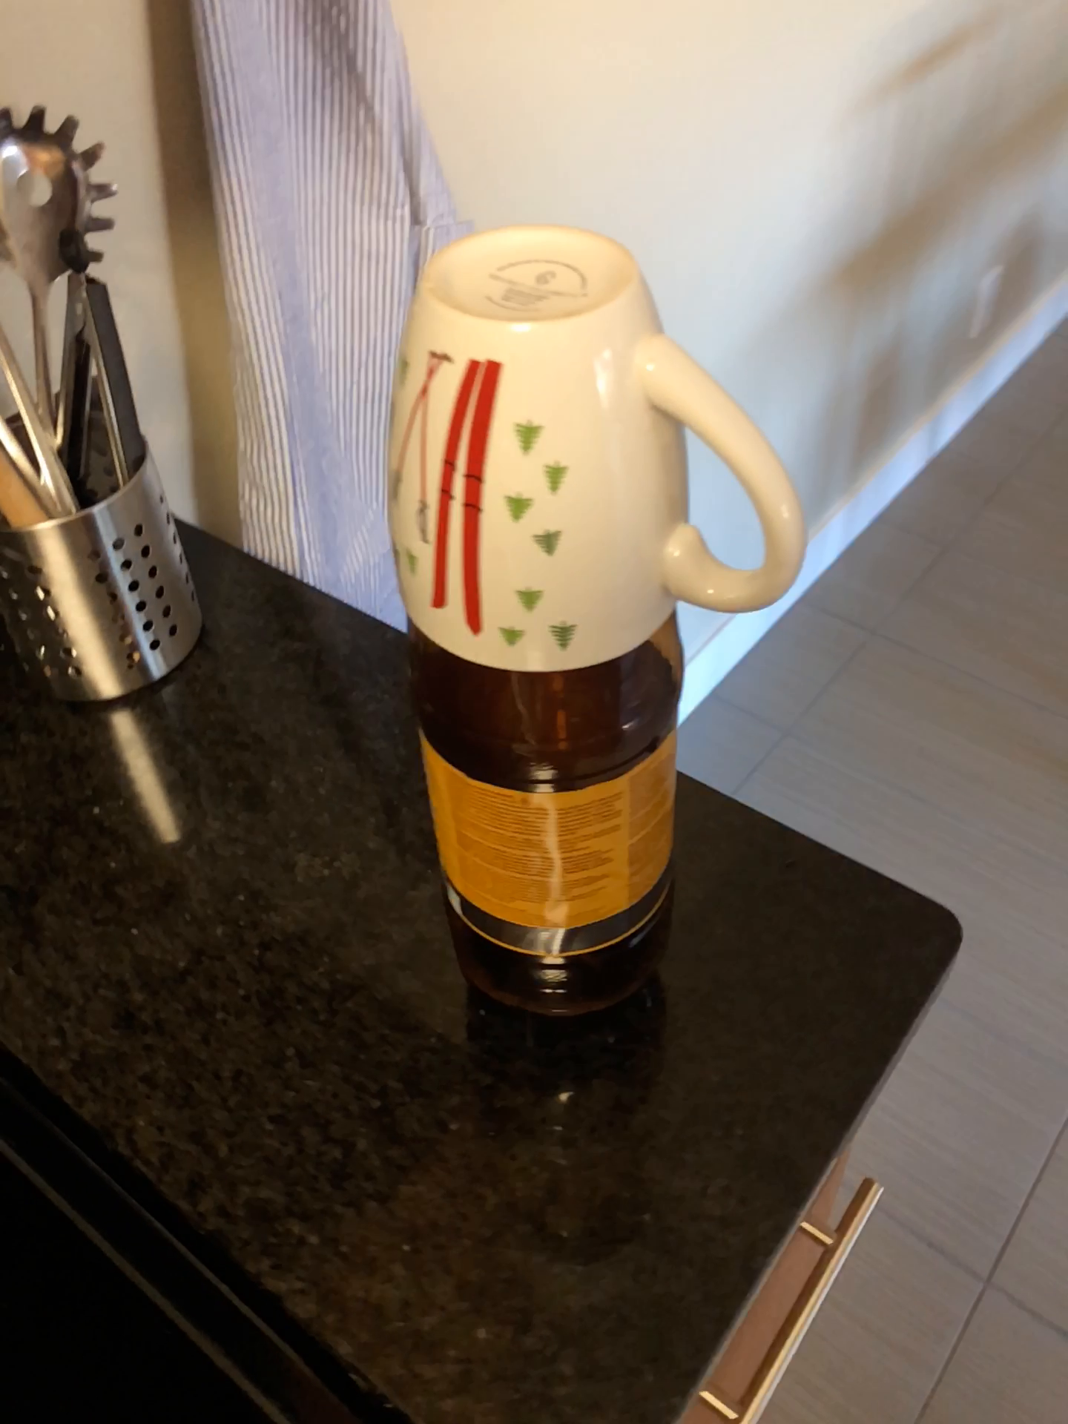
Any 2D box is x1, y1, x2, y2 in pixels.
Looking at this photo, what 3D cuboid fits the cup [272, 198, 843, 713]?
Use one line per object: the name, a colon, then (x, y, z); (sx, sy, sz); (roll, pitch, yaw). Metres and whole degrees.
cup: (0.014, -0.083, 0.367); (0.140, 0.110, 0.100); (8, 44, 13)
